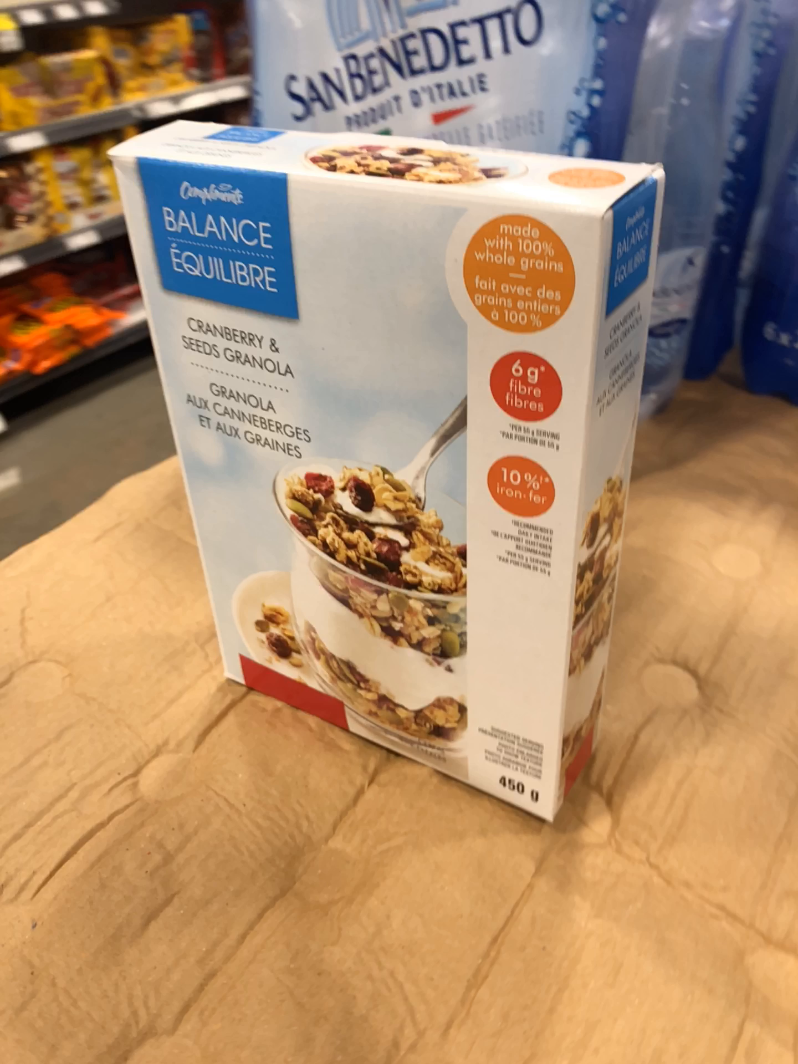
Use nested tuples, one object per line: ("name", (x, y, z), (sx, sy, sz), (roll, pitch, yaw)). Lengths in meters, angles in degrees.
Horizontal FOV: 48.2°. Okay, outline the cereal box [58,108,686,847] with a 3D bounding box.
("cereal box", (-0.011, -0.017, 0.317), (0.180, 0.229, 0.050), (18, 40, 27))
